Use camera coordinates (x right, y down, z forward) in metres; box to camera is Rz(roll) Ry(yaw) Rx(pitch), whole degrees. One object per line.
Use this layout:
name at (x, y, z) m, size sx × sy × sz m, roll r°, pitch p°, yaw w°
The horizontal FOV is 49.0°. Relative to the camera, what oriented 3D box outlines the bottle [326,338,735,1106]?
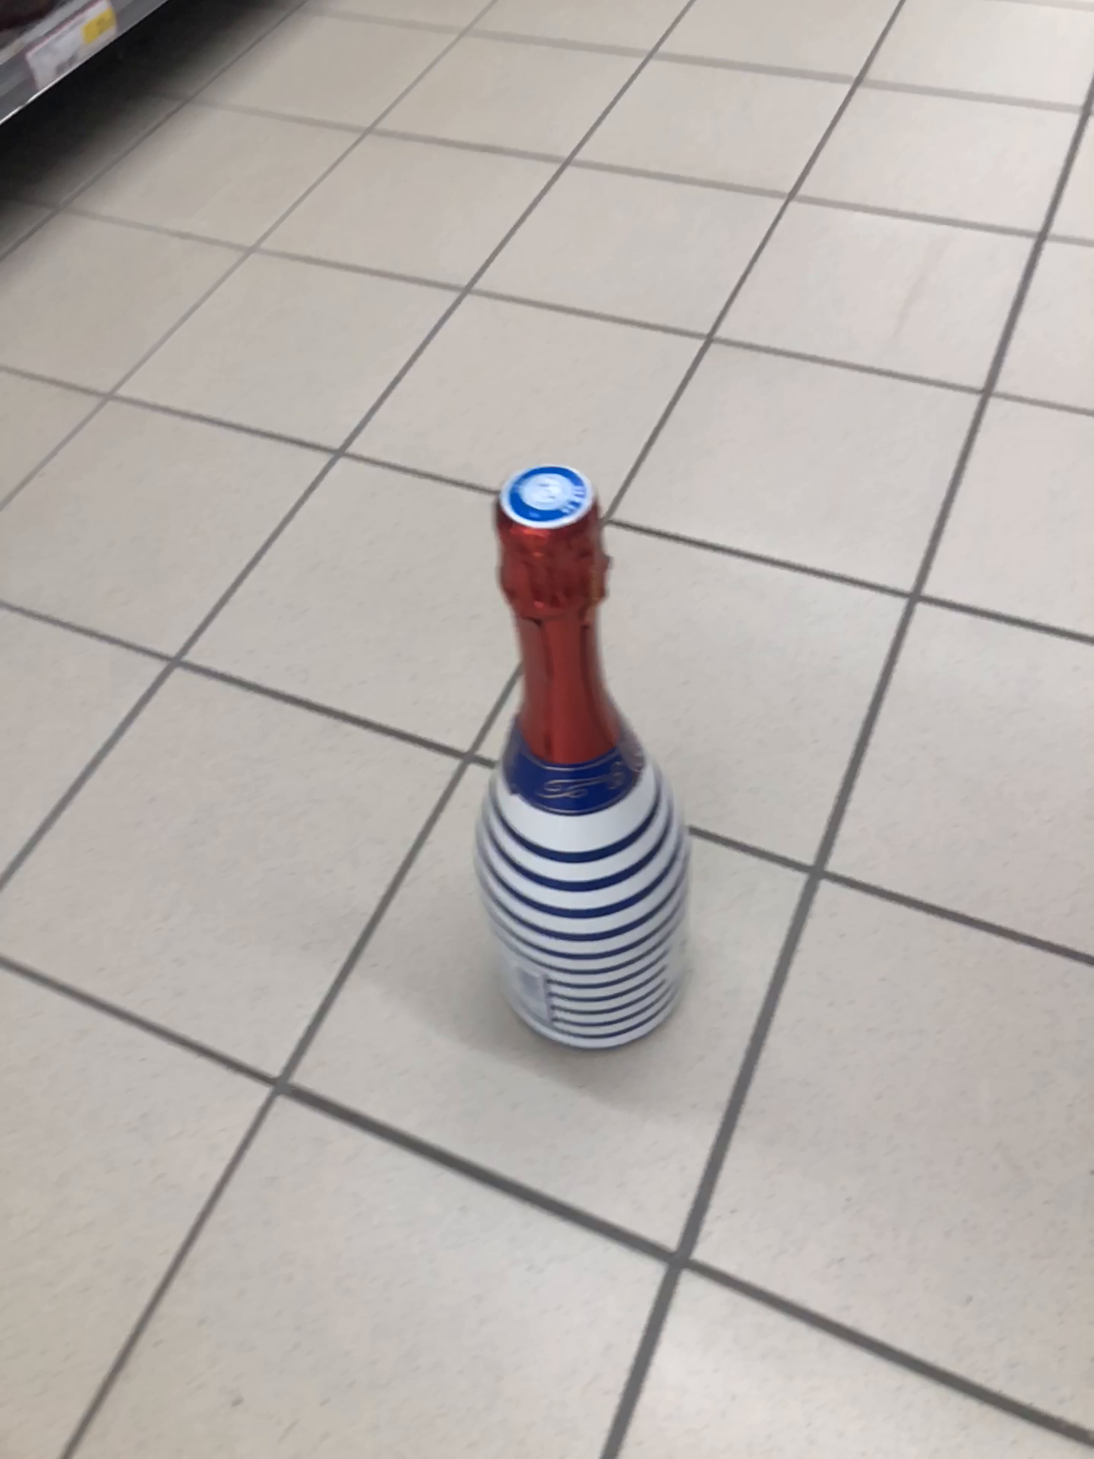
bottle at (0.003, 0.024, 0.456) m, size 0.090 × 0.308 × 0.100 m, roll -16°, pitch 52°, yaw -7°
